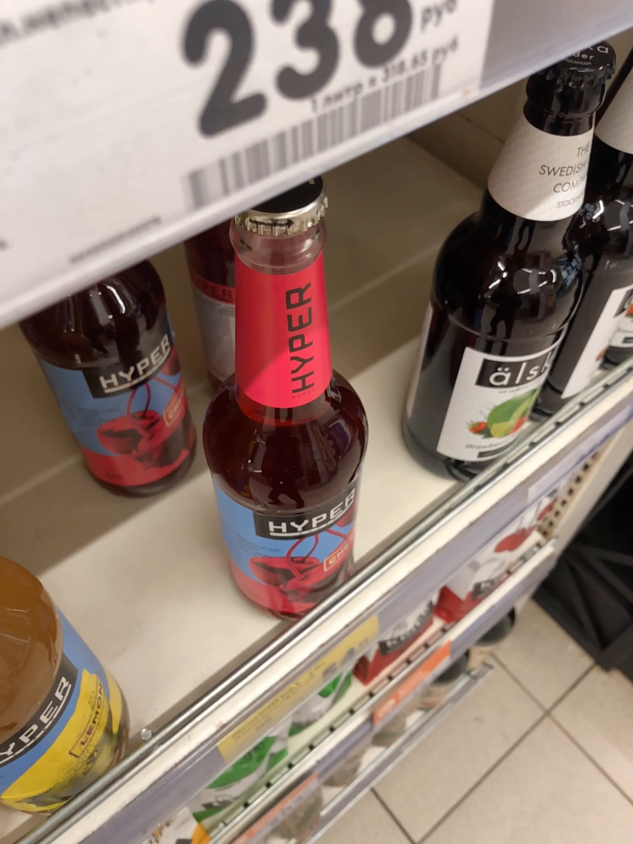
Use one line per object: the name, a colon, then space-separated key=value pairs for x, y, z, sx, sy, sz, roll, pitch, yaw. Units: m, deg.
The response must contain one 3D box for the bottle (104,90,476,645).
bottle: x=-0.010 y=0.005 z=0.295 sx=0.080 sy=0.243 sz=0.070 roll=-23 pitch=58 yaw=-16
